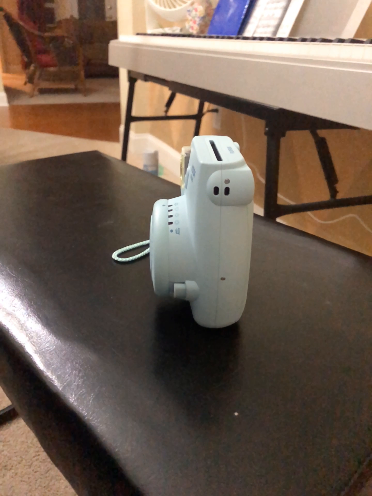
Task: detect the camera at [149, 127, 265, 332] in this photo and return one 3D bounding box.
[{"bbox_3d":[0.007,-0.021,0.320,0.068,0.118,0.121,0,27,-4],"label":"camera"}]
